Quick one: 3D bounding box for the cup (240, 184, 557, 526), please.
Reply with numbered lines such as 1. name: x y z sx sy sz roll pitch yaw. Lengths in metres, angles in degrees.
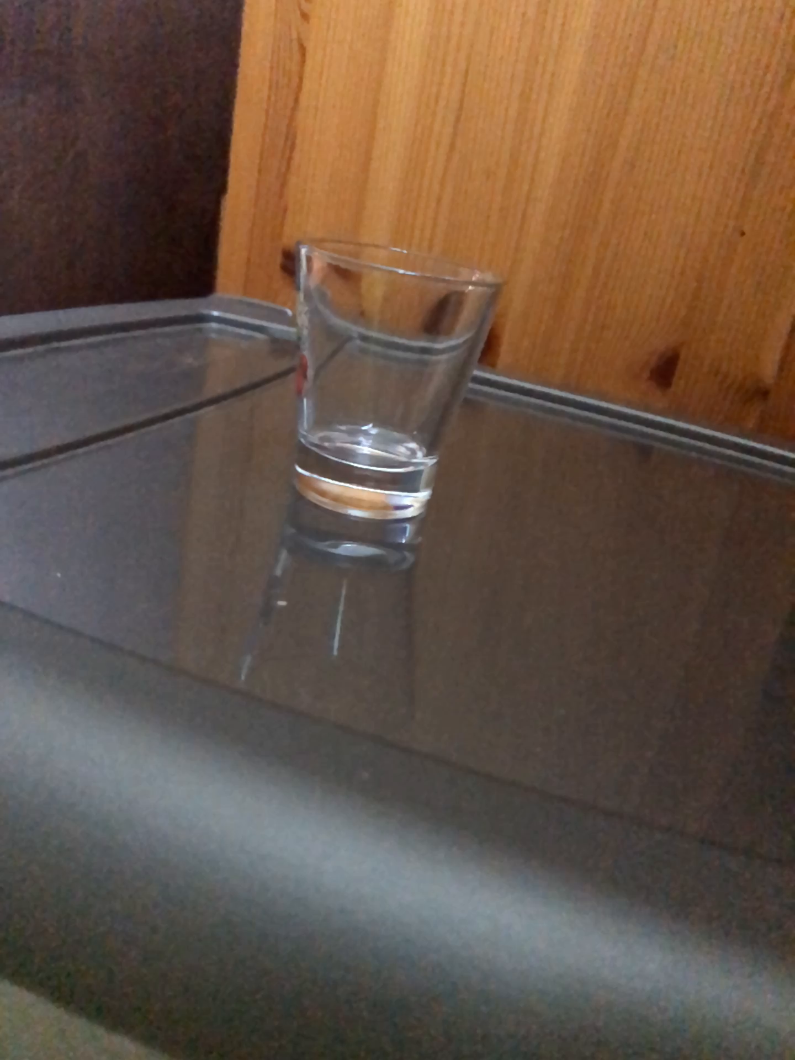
1. cup: -0.004 -0.050 0.255 0.060 0.080 0.060 10 22 -4
